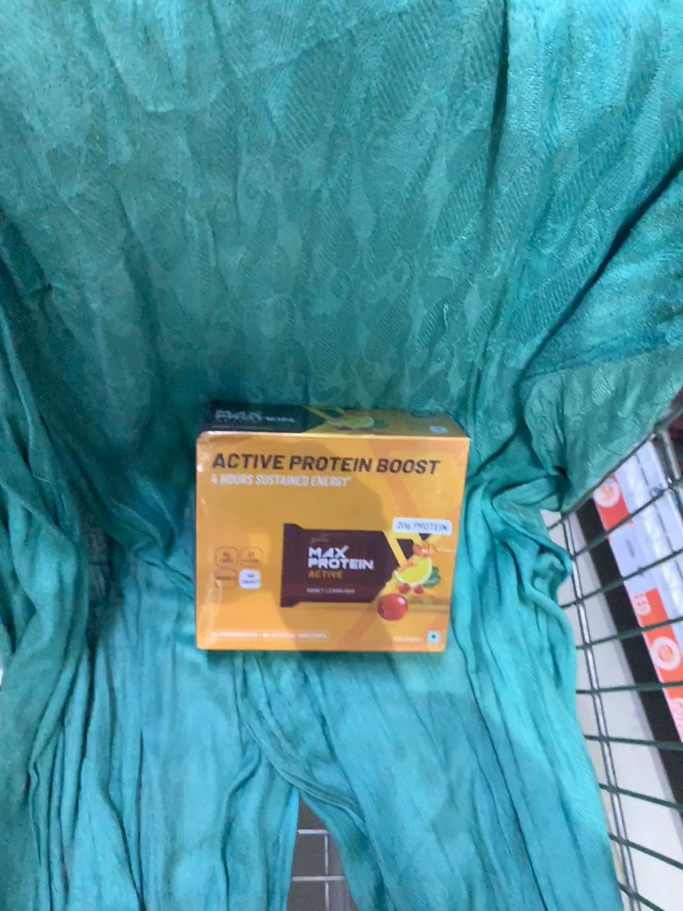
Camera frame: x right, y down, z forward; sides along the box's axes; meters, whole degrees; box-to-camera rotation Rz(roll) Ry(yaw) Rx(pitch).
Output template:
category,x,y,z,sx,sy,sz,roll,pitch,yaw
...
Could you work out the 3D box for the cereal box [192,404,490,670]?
category,x,y,z,sx,sy,sz,roll,pitch,yaw
cereal box,-0.005,0.047,0.433,0.160,0.080,0.140,2,105,-5
